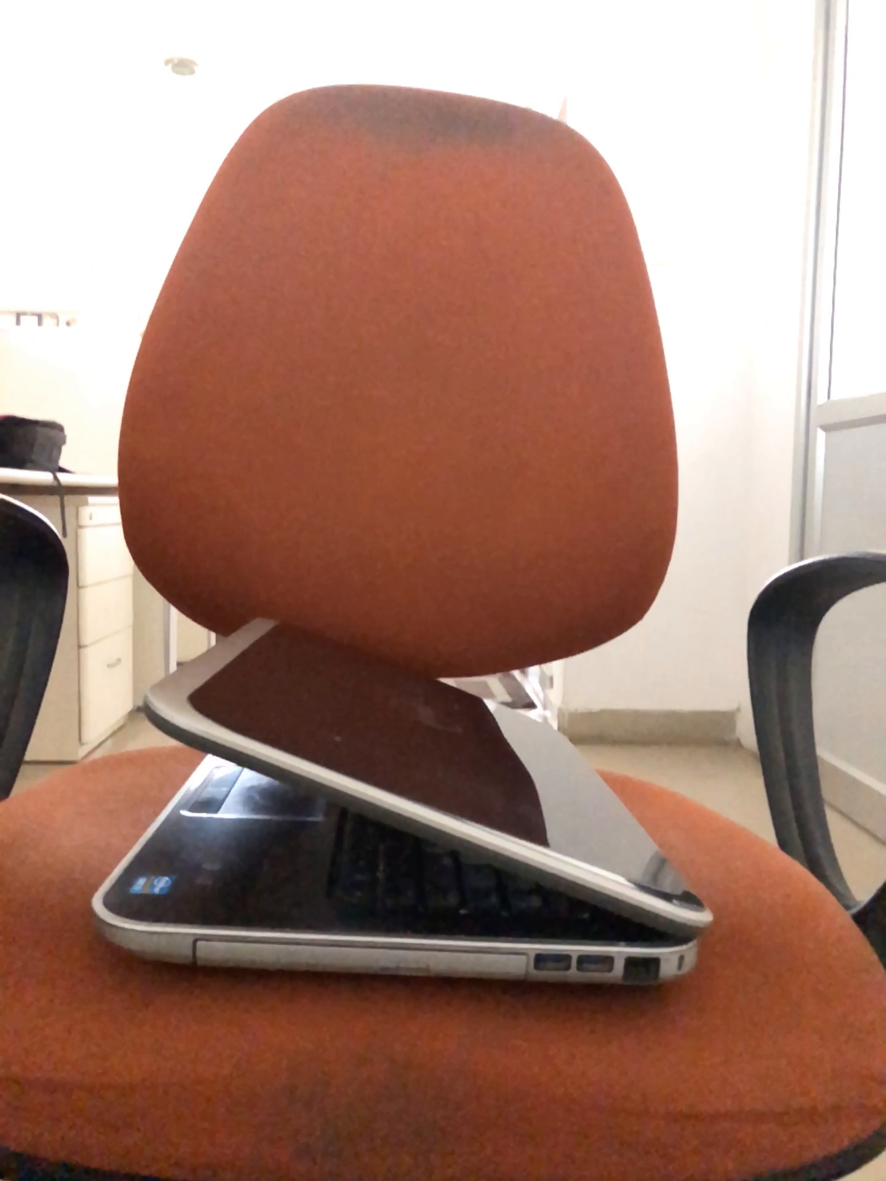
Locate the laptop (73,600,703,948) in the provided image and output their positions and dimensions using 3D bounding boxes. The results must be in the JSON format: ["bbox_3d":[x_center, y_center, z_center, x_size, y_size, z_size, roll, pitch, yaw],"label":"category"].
[{"bbox_3d":[-0.028,0.072,0.546,0.233,0.091,0.366,4,3,-3],"label":"laptop"}]
